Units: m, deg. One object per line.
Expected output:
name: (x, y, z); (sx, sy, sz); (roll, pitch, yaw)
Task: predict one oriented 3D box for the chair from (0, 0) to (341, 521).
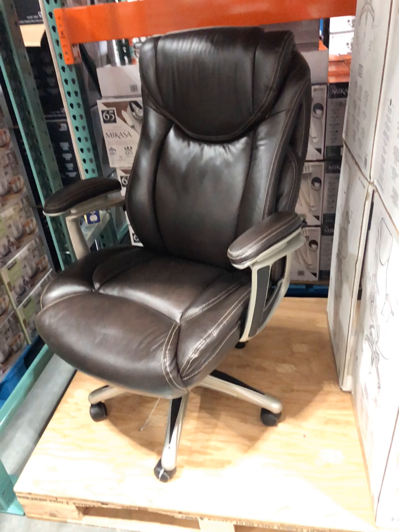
chair: (-0.070, -0.085, 1.206); (0.661, 1.095, 0.722); (11, 34, 27)
